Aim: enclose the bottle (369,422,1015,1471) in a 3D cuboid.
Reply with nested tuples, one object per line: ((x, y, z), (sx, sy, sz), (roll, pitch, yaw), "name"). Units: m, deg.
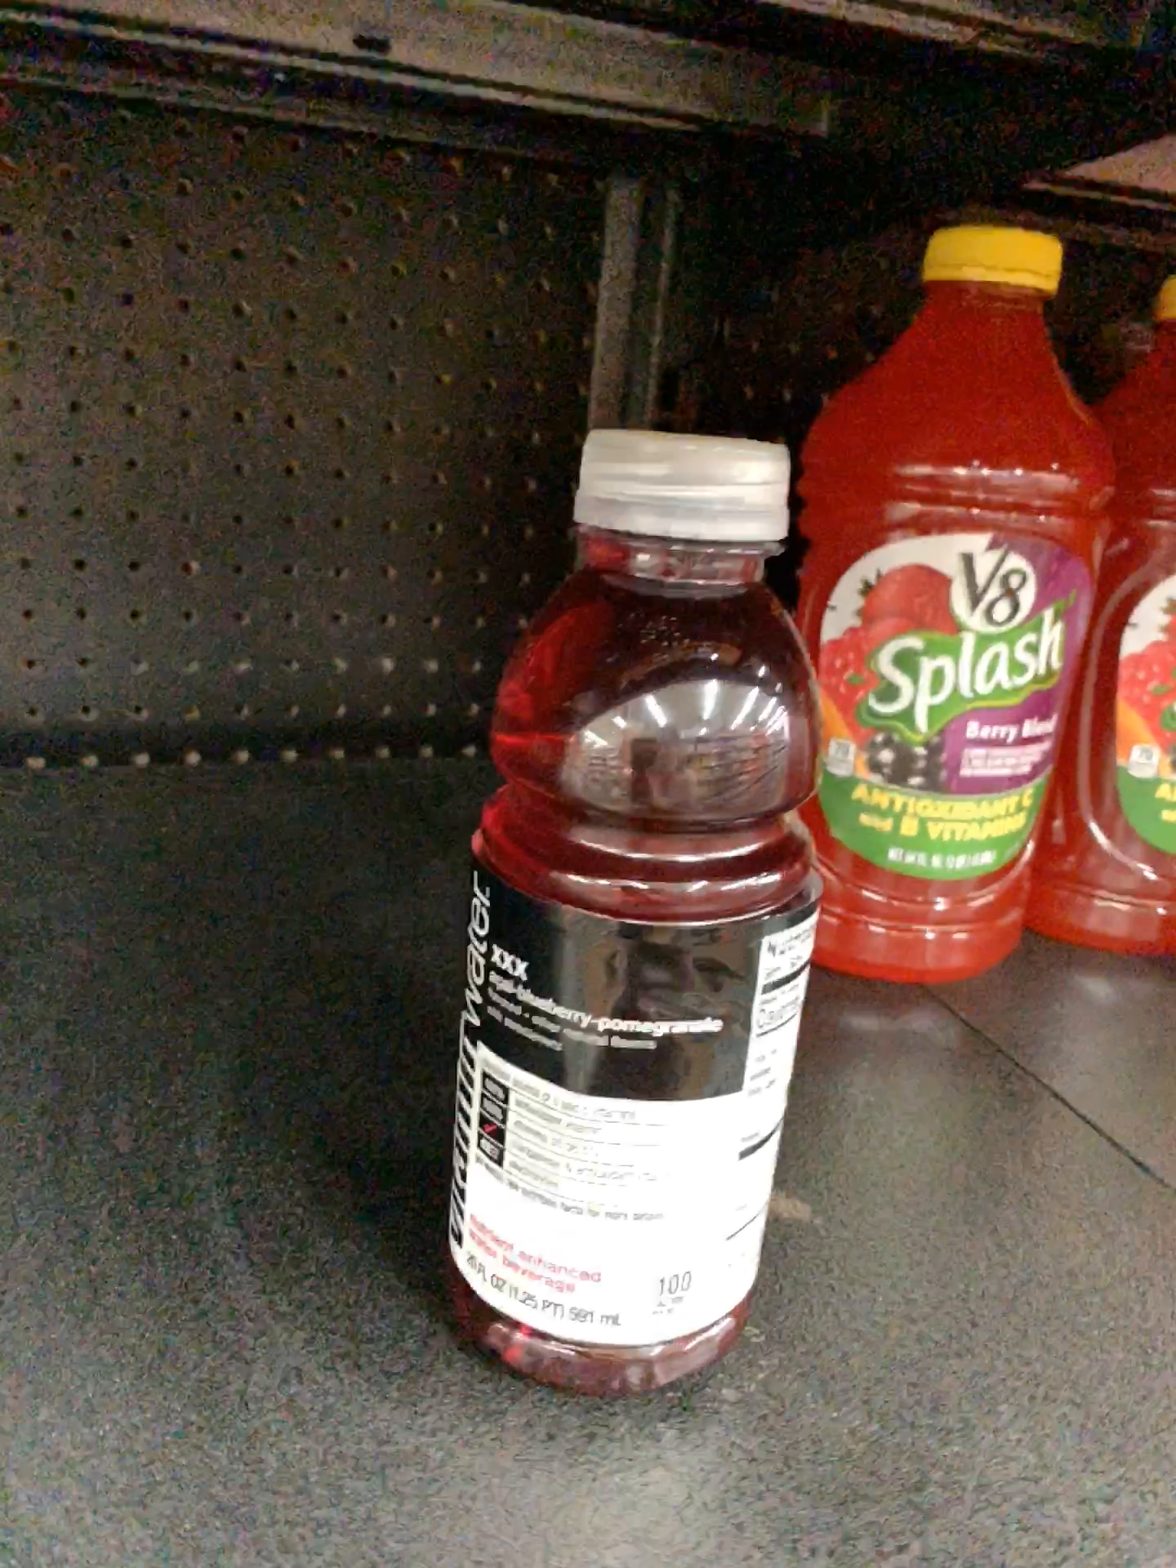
((0.015, 0.024, 0.251), (0.080, 0.179, 0.080), (5, 19, -2), "bottle")
